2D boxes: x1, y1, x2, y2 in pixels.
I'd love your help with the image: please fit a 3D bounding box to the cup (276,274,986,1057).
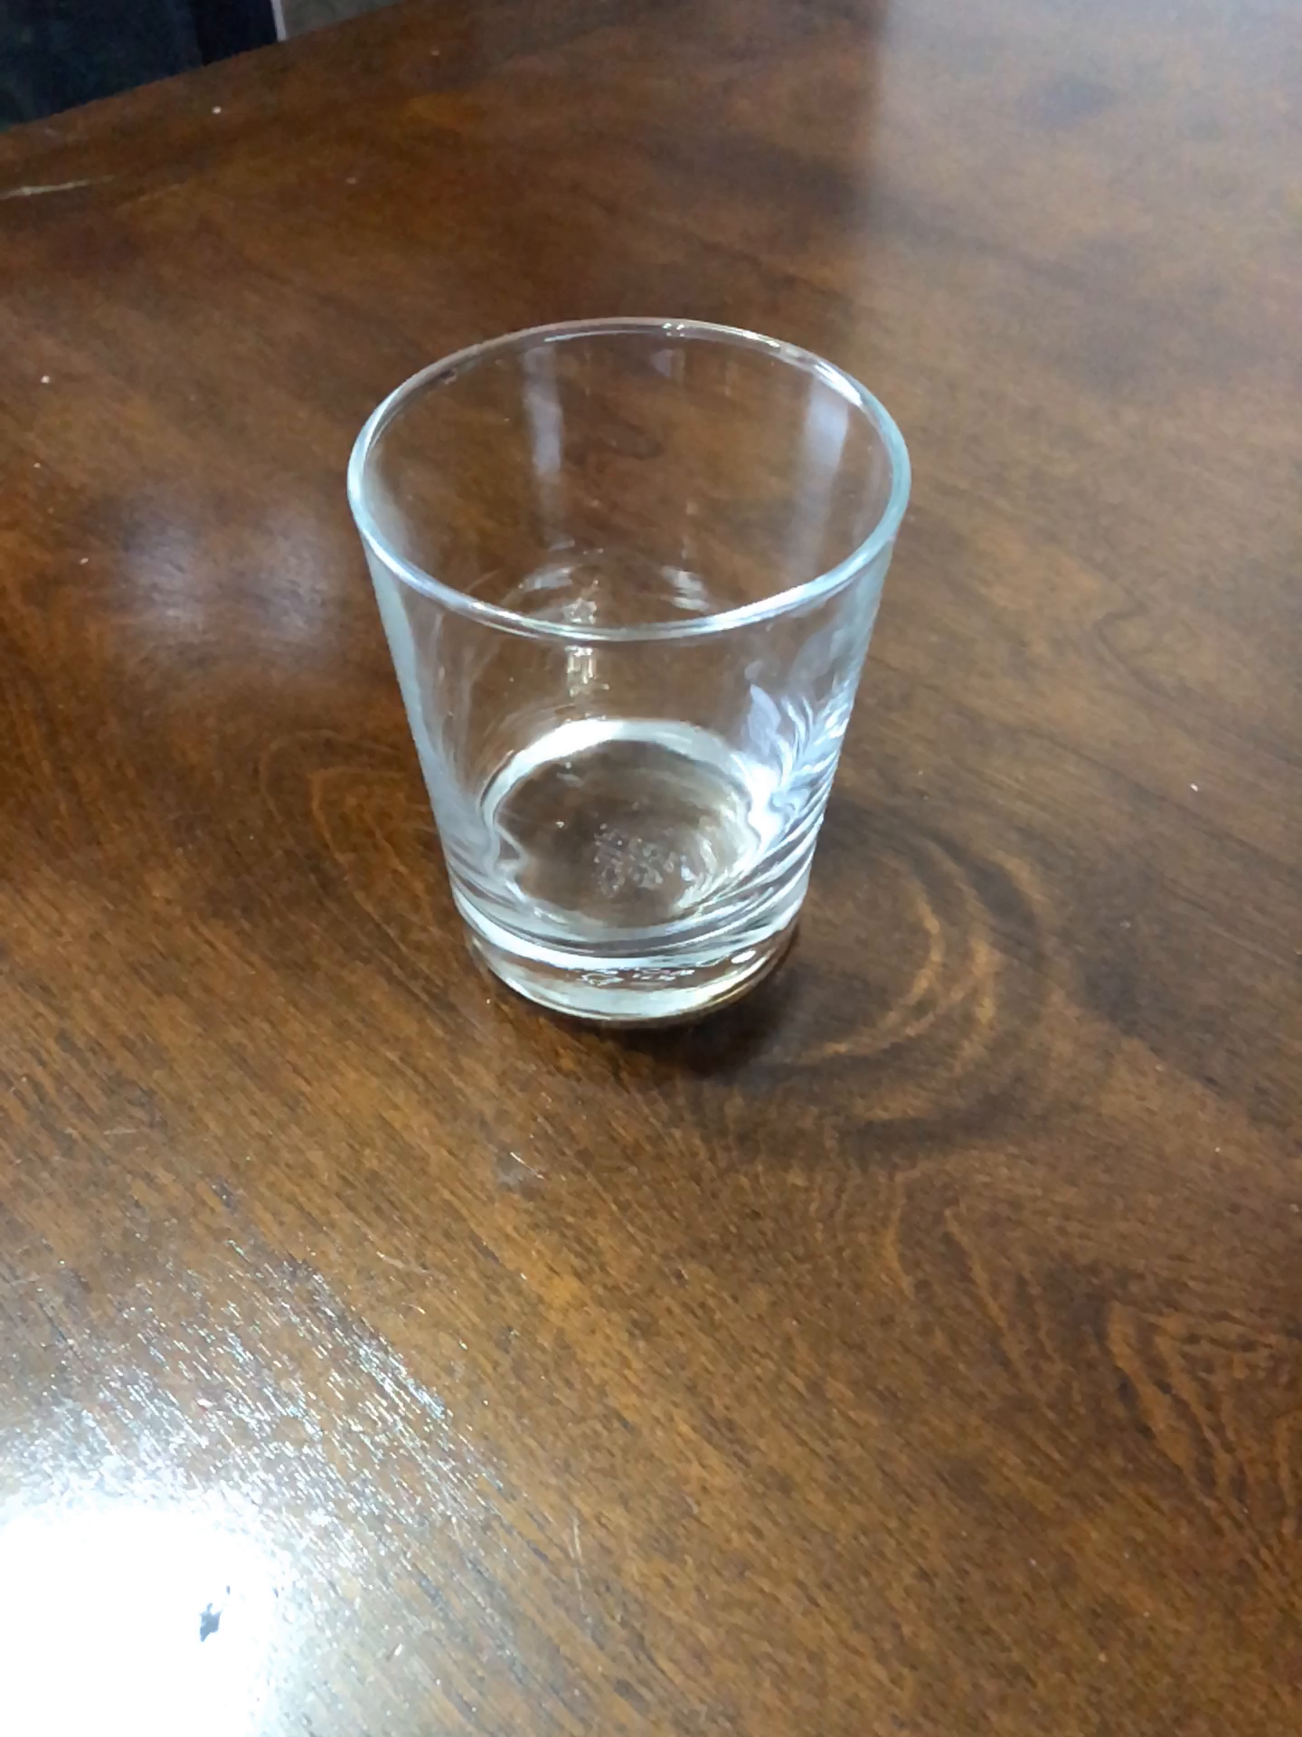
[{"bbox_3d":[0.000,-0.034,0.247,0.090,0.090,0.090,0,48,0],"label":"cup"}]
